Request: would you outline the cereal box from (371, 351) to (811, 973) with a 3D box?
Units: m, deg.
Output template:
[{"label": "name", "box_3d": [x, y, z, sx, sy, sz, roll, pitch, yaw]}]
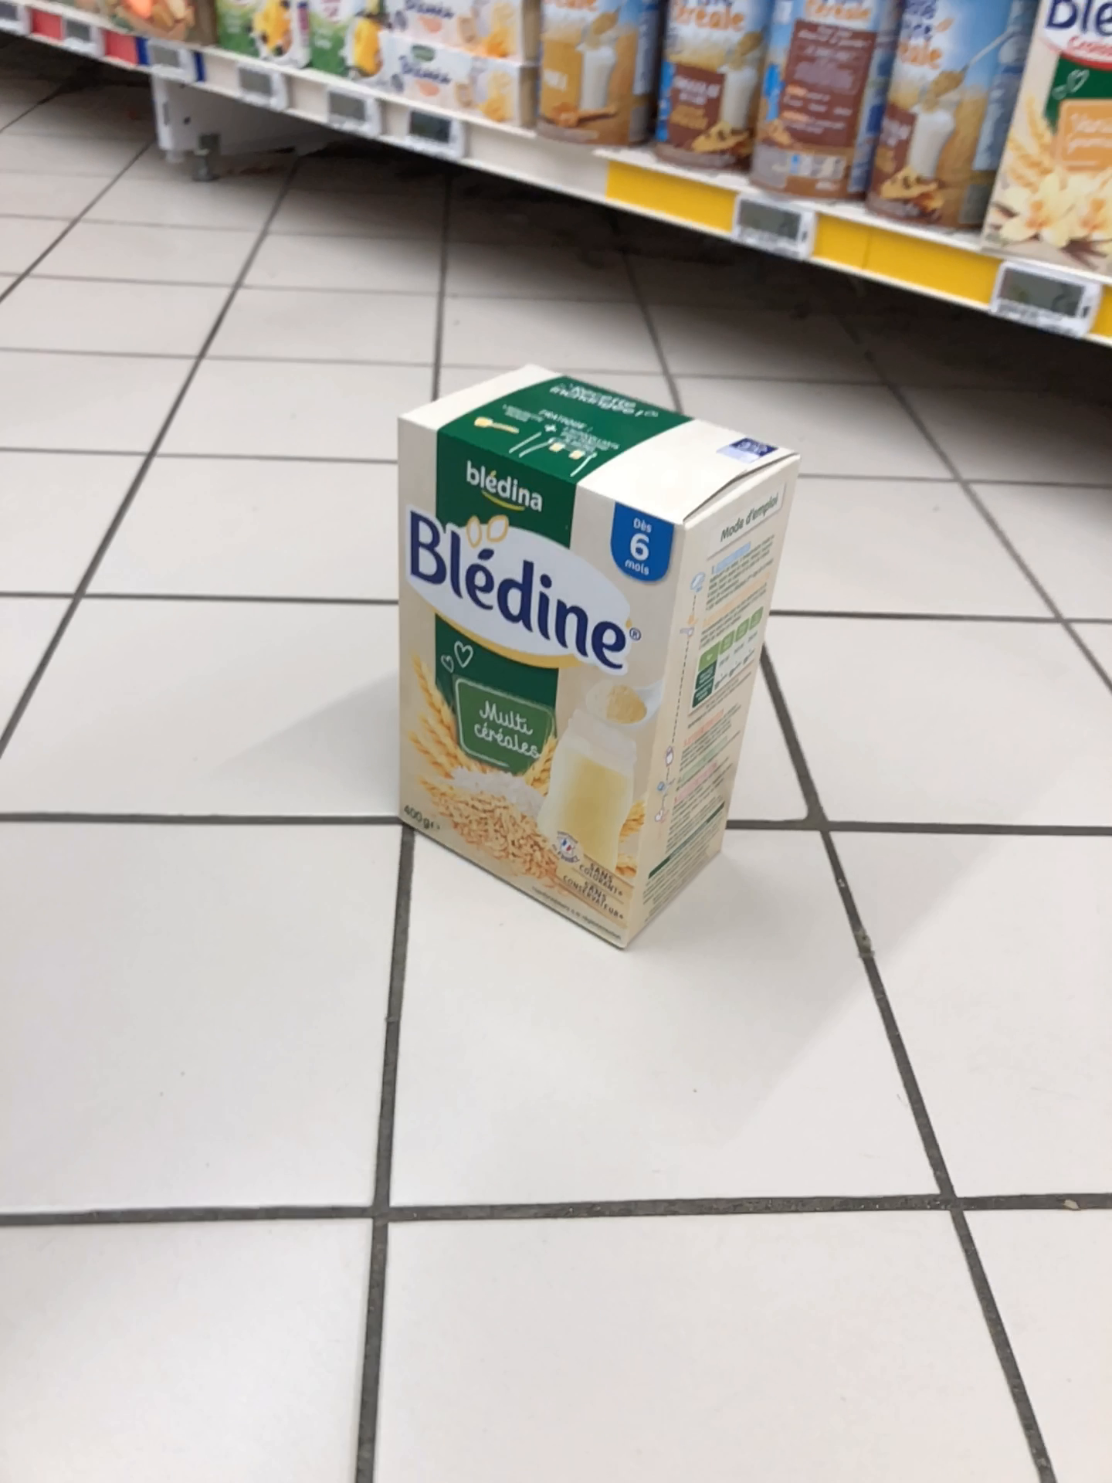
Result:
[{"label": "cereal box", "box_3d": [0.006, -0.033, 0.498, 0.130, 0.199, 0.091, 27, 41, 27]}]
